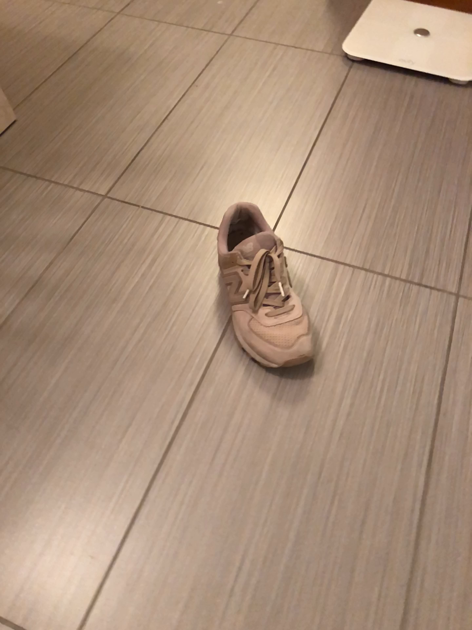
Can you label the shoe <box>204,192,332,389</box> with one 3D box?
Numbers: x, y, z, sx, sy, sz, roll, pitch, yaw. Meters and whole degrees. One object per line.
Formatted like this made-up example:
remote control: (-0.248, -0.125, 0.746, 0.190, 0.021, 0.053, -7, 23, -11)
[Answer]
shoe: (0.035, -0.044, 0.738, 0.100, 0.090, 0.271, -12, 55, -8)
